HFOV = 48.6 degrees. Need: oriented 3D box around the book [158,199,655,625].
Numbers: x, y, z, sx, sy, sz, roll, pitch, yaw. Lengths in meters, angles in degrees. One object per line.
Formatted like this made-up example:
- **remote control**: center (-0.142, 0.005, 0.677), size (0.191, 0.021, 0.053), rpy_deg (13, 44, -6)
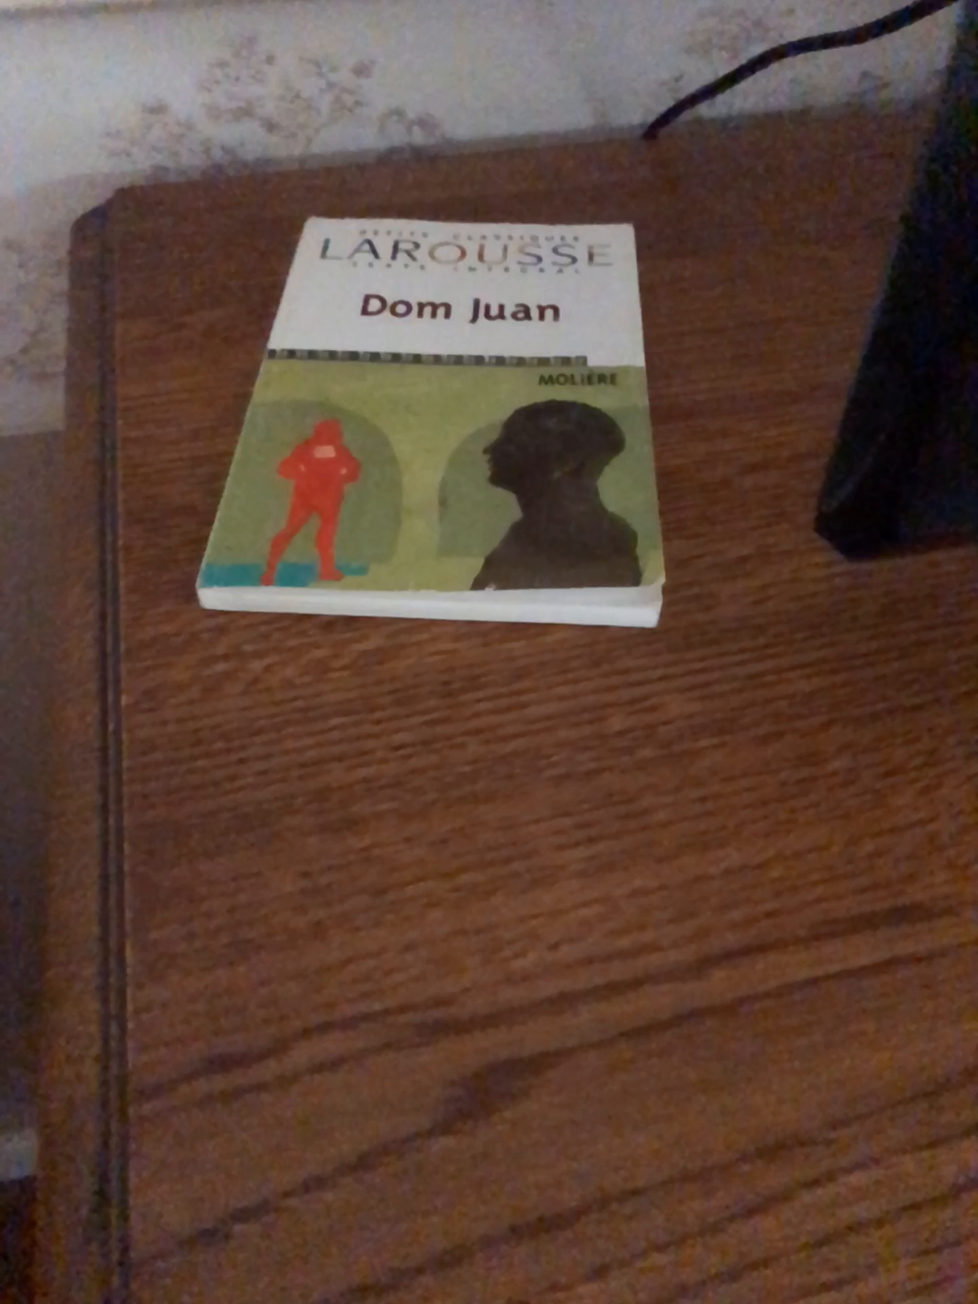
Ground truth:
- **book**: center (-0.015, -0.080, 0.313), size (0.115, 0.010, 0.181), rpy_deg (3, 49, 1)
